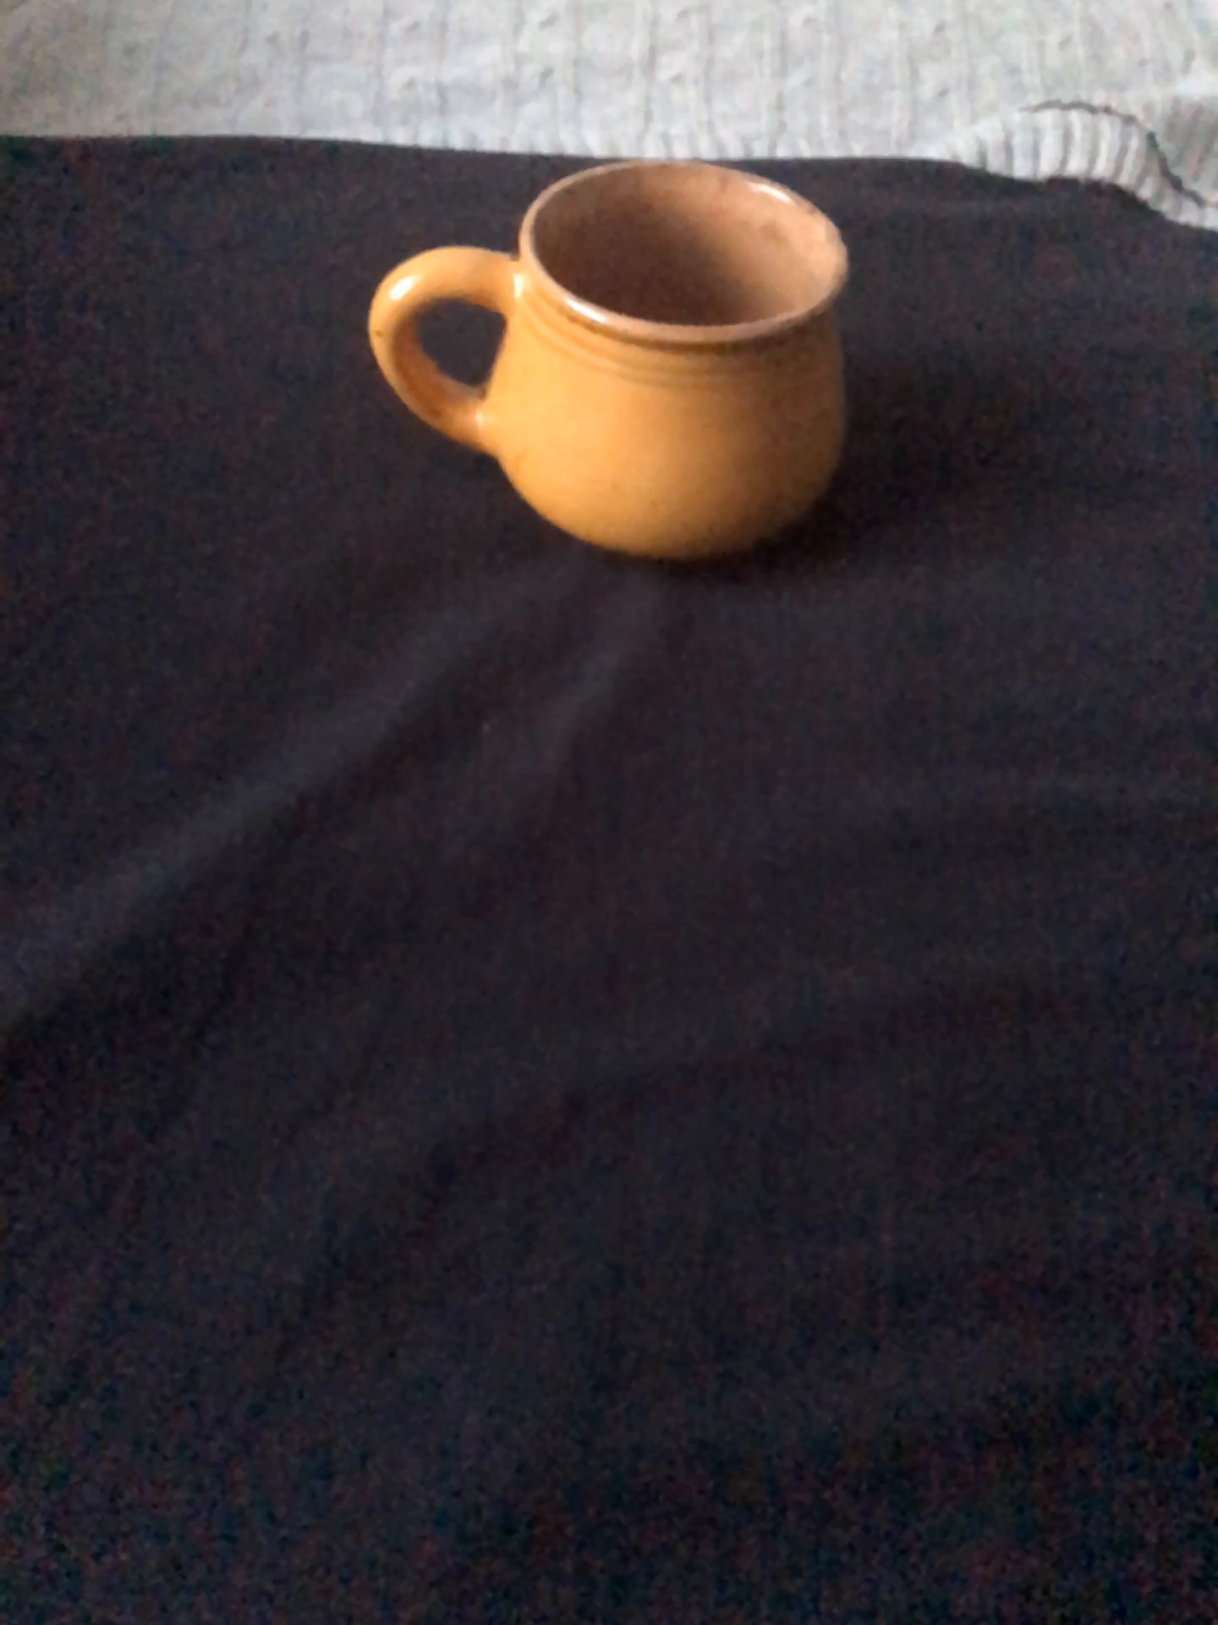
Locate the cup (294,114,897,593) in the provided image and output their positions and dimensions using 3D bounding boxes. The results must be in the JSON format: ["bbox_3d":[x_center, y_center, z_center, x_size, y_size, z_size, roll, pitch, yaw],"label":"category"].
[{"bbox_3d":[-0.001,-0.107,0.316,0.119,0.058,0.082,7,50,1],"label":"cup"}]
